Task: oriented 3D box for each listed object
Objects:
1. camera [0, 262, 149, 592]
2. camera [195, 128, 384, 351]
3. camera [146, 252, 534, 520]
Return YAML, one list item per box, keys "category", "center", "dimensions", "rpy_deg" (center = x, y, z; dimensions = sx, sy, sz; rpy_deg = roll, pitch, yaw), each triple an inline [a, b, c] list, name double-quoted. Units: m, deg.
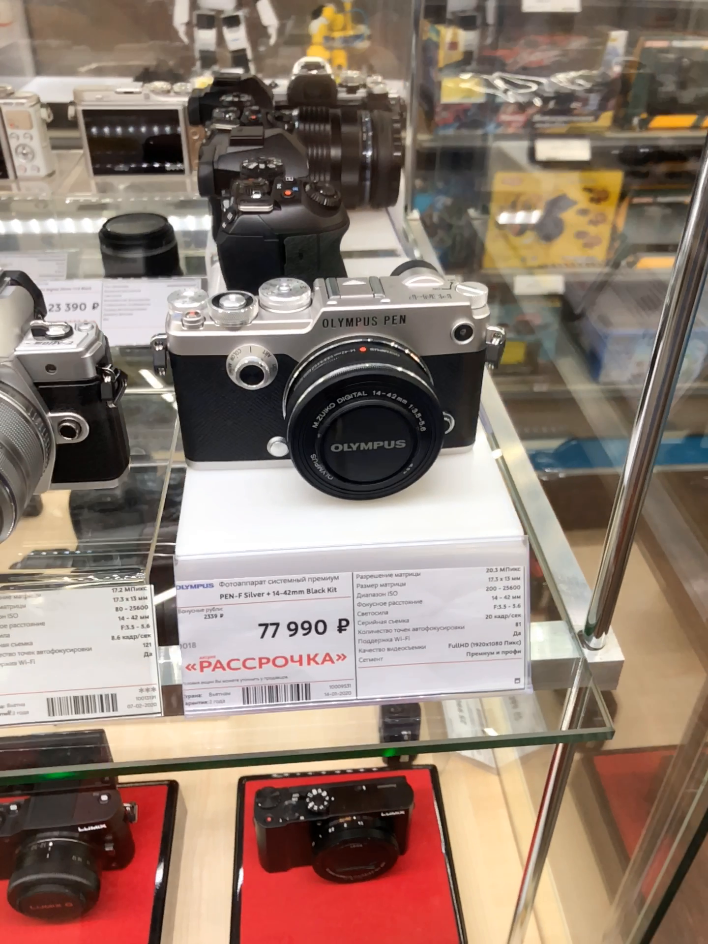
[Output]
- category: "camera"
  center: [-0.151, -0.021, 0.287]
  dimensions: [0.127, 0.075, 0.099]
  rpy_deg: [-2, 36, -4]
- category: "camera"
  center: [-0.035, -0.129, 0.420]
  dimensions: [0.083, 0.075, 0.128]
  rpy_deg: [-3, 36, -5]
- category: "camera"
  center: [-0.008, -0.037, 0.307]
  dimensions: [0.127, 0.070, 0.077]
  rpy_deg: [-3, 36, -6]
